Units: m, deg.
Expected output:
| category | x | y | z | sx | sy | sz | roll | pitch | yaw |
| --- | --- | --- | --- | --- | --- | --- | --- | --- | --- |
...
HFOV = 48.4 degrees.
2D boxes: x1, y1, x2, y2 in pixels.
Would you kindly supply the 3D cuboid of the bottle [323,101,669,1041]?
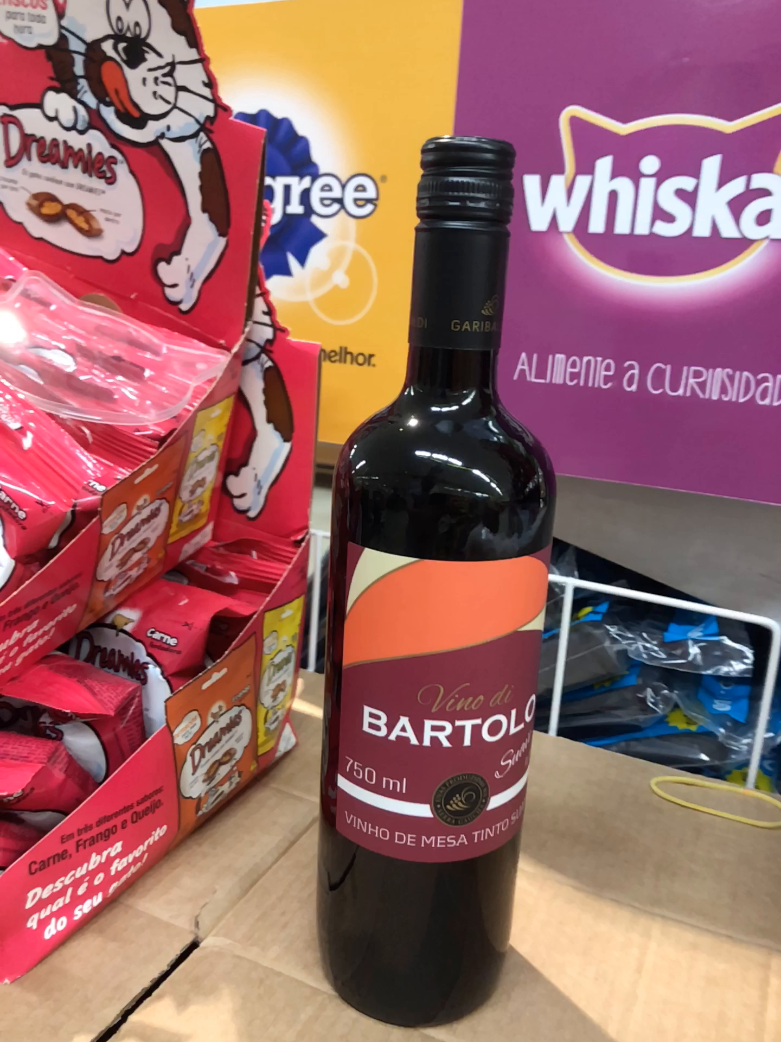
| category | x | y | z | sx | sy | sz | roll | pitch | yaw |
| --- | --- | --- | --- | --- | --- | --- | --- | --- | --- |
| bottle | 0.025 | 0.028 | 0.297 | 0.080 | 0.298 | 0.060 | -1 | 15 | -13 |
